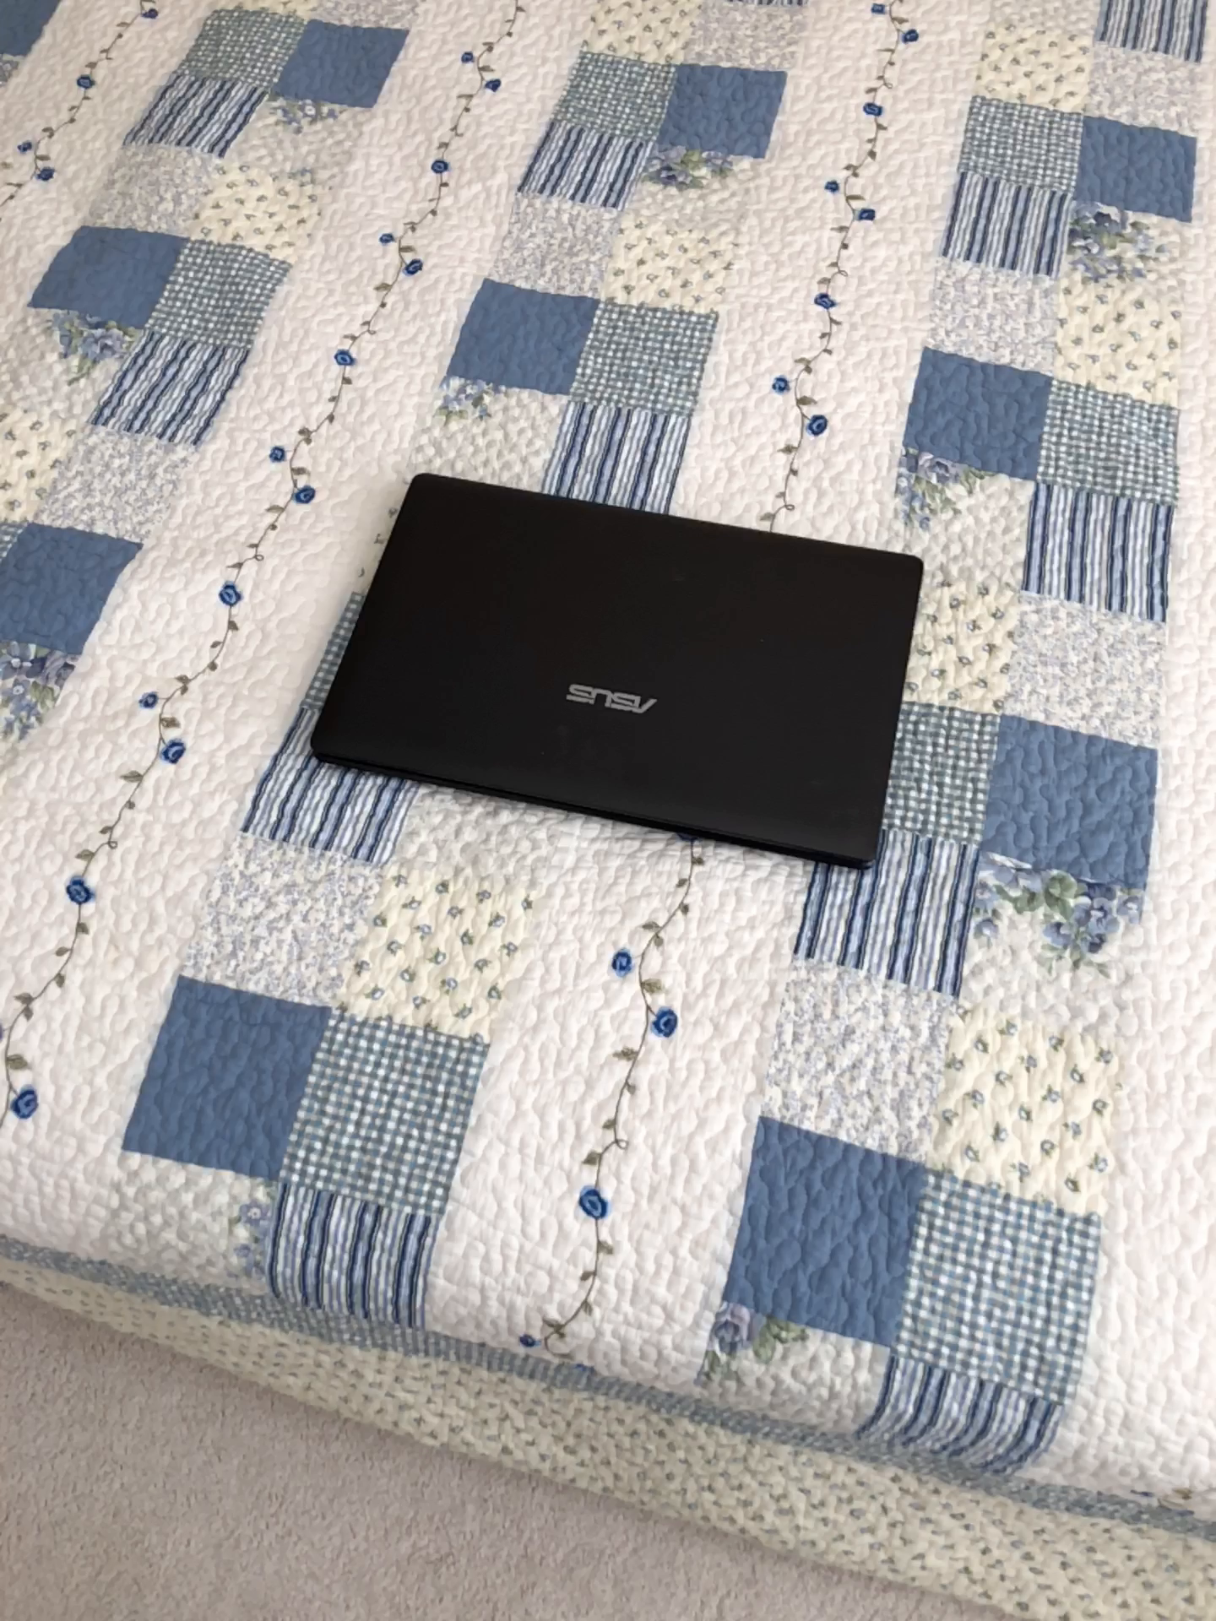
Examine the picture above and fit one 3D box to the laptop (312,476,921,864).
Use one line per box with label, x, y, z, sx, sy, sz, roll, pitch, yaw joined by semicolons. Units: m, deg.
laptop;0.012;-0.106;0.902;0.369;0.006;0.235;11;63;8
